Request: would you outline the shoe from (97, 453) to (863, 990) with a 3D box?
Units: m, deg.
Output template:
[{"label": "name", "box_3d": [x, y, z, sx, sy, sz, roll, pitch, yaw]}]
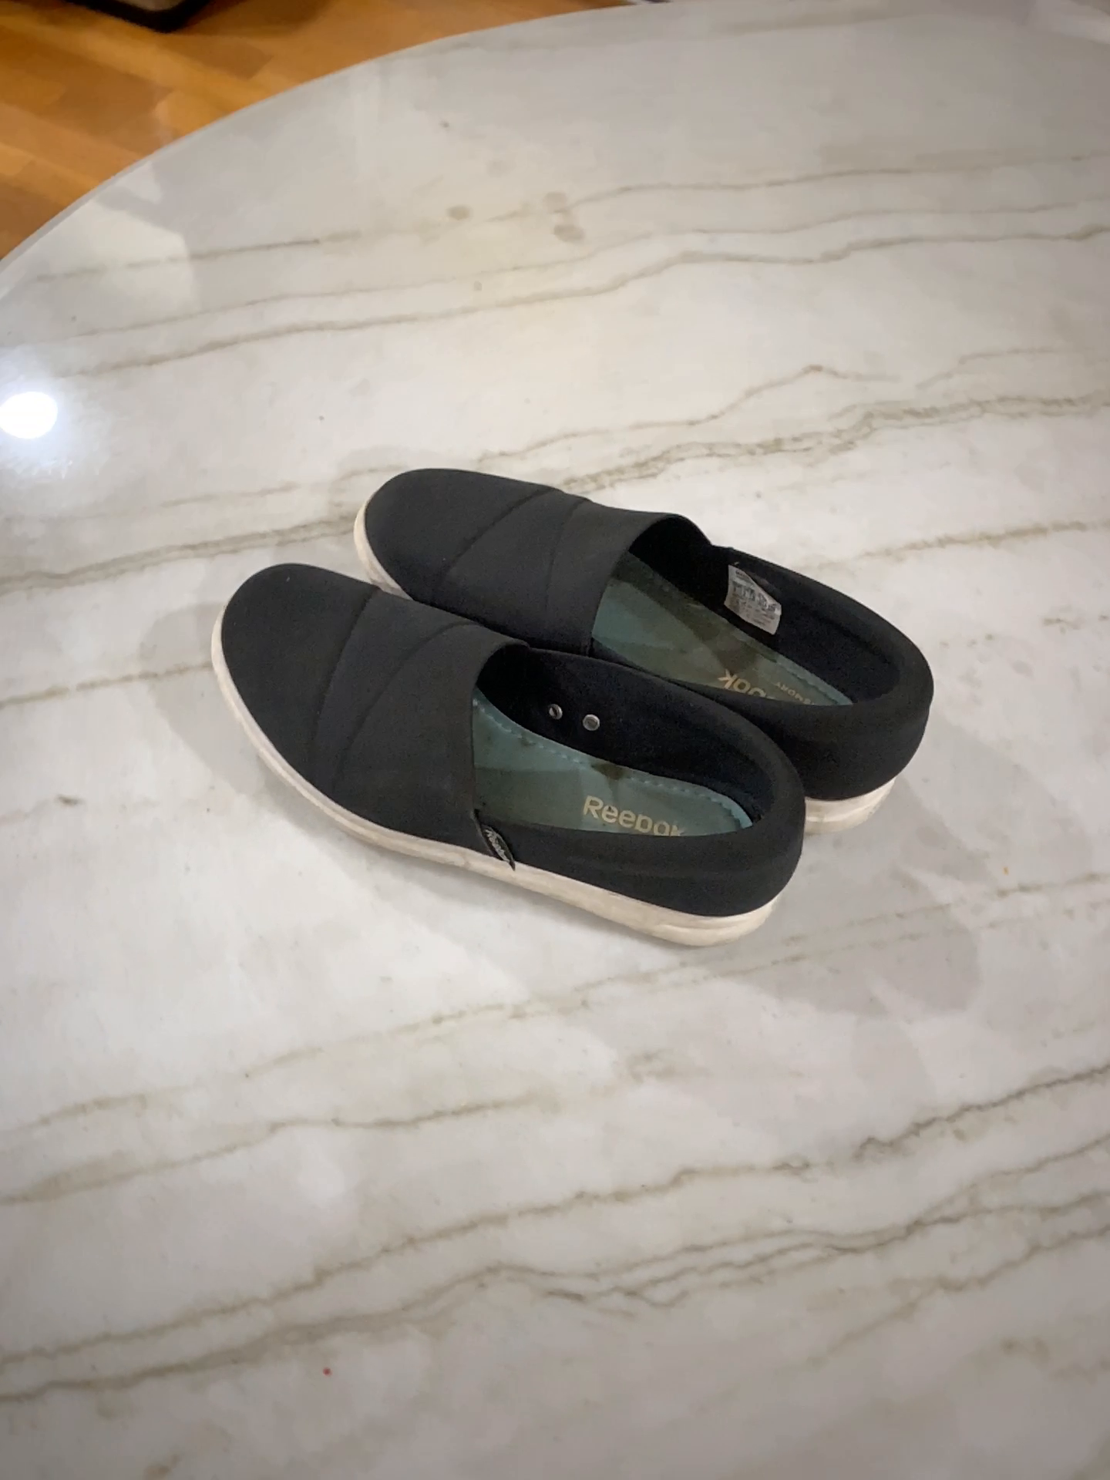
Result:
[{"label": "shoe", "box_3d": [-0.024, -0.007, 0.402, 0.229, 0.079, 0.092, 20, 62, 8]}]

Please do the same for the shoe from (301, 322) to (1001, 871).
[{"label": "shoe", "box_3d": [0.031, -0.057, 0.432, 0.229, 0.079, 0.092, 28, 63, 12]}]
